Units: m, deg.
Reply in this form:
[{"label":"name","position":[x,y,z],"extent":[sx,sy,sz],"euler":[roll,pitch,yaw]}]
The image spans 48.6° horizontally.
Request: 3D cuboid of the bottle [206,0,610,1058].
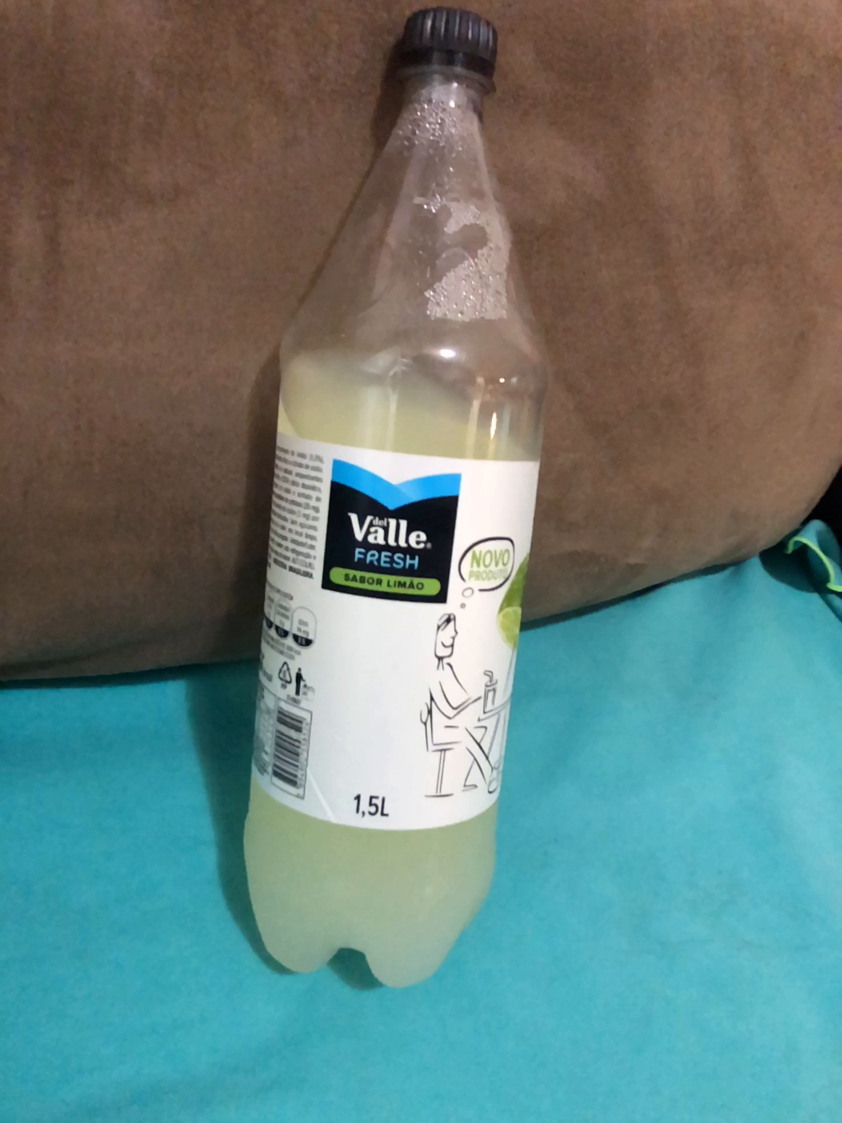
[{"label":"bottle","position":[-0.006,-0.028,0.326],"extent":[0.100,0.330,0.100],"euler":[0,3,0]}]
